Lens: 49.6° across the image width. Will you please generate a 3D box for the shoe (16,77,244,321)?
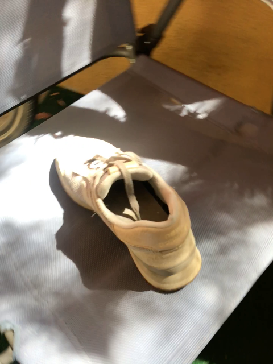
[{"bbox_3d":[-0.022,0.012,0.391,0.125,0.104,0.287,-32,67,-15],"label":"shoe"}]
